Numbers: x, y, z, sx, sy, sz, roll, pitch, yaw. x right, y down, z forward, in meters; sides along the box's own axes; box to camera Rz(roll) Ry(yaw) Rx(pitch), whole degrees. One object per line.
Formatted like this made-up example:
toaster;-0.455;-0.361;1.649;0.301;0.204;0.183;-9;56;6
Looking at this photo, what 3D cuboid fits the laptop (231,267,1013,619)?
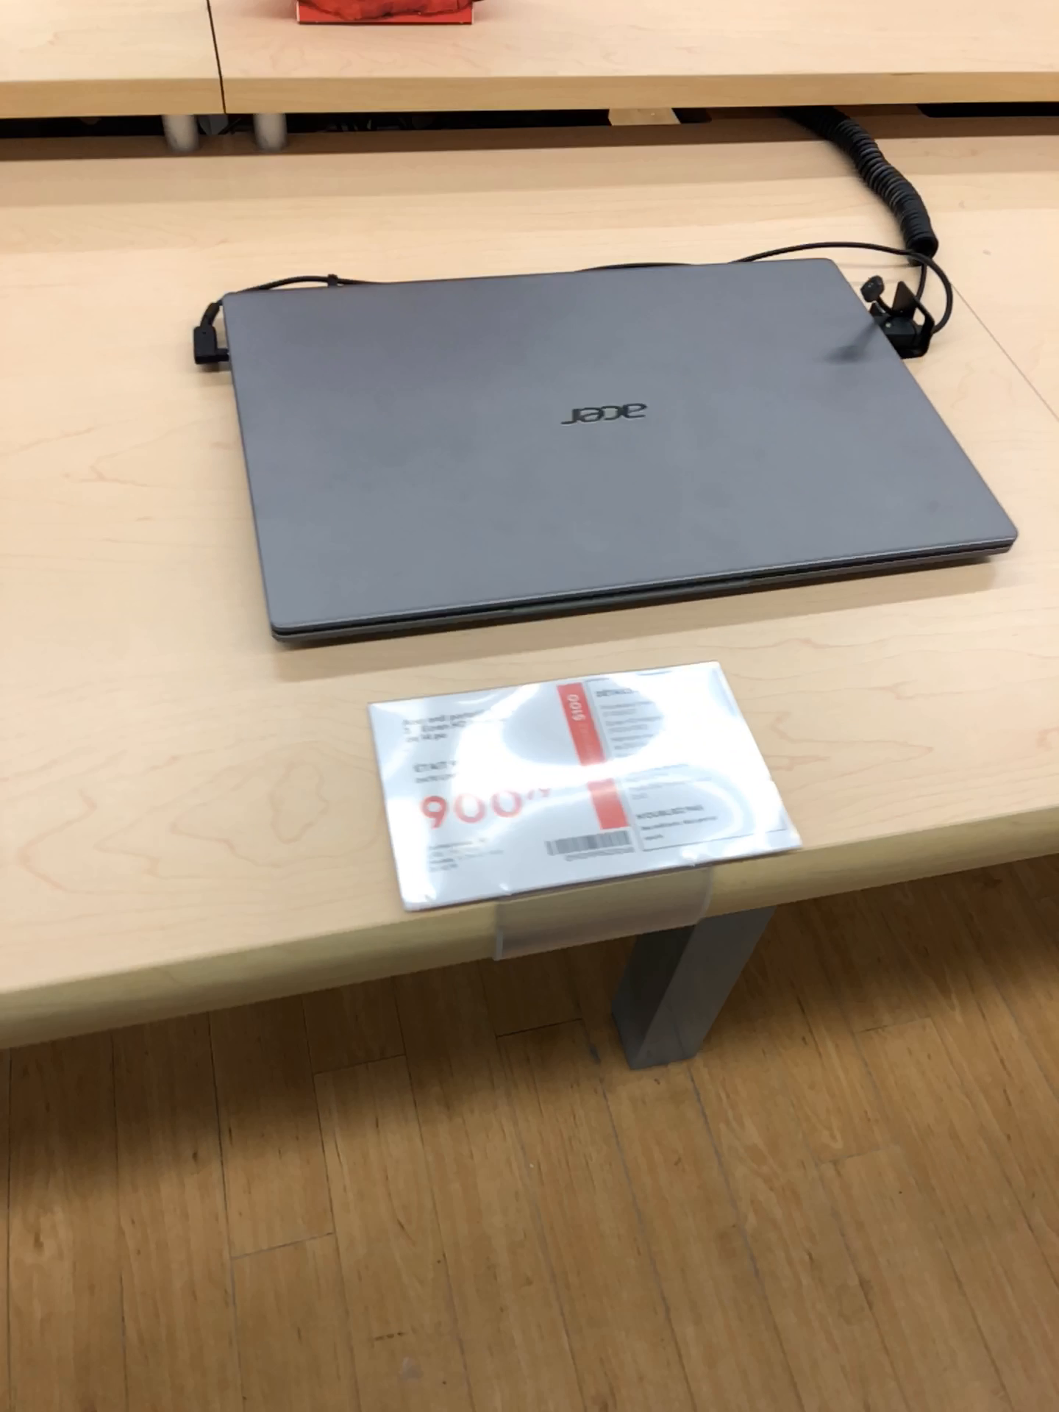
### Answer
laptop;0.033;-0.131;0.517;0.306;0.001;0.201;-8;54;-13
